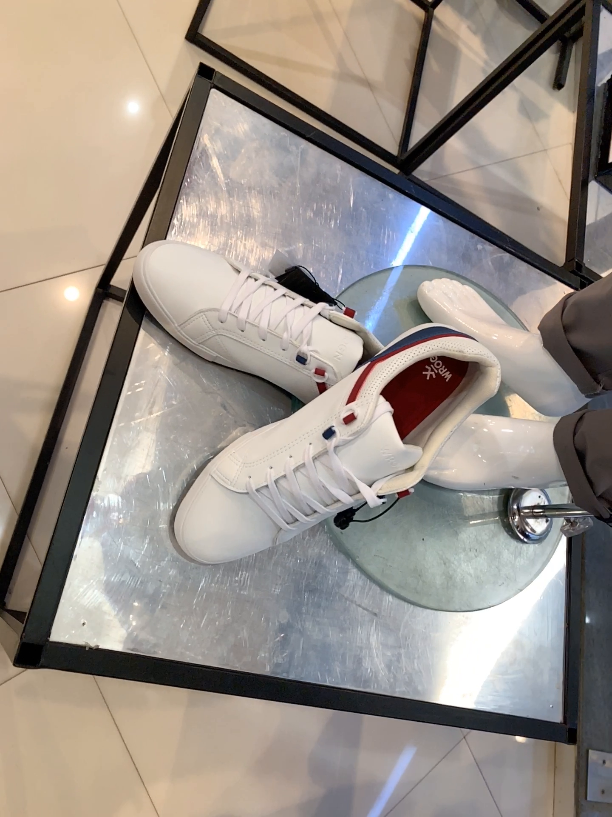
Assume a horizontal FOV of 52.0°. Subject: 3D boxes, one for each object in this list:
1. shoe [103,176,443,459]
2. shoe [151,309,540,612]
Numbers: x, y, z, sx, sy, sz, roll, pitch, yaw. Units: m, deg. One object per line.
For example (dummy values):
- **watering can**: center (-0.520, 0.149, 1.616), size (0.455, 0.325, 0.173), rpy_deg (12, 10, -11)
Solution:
- **shoe**: center (-0.028, -0.068, 0.575), size (0.280, 0.100, 0.100), rpy_deg (31, 72, -16)
- **shoe**: center (0.029, 0.029, 0.504), size (0.281, 0.100, 0.100), rpy_deg (-28, 100, -13)
